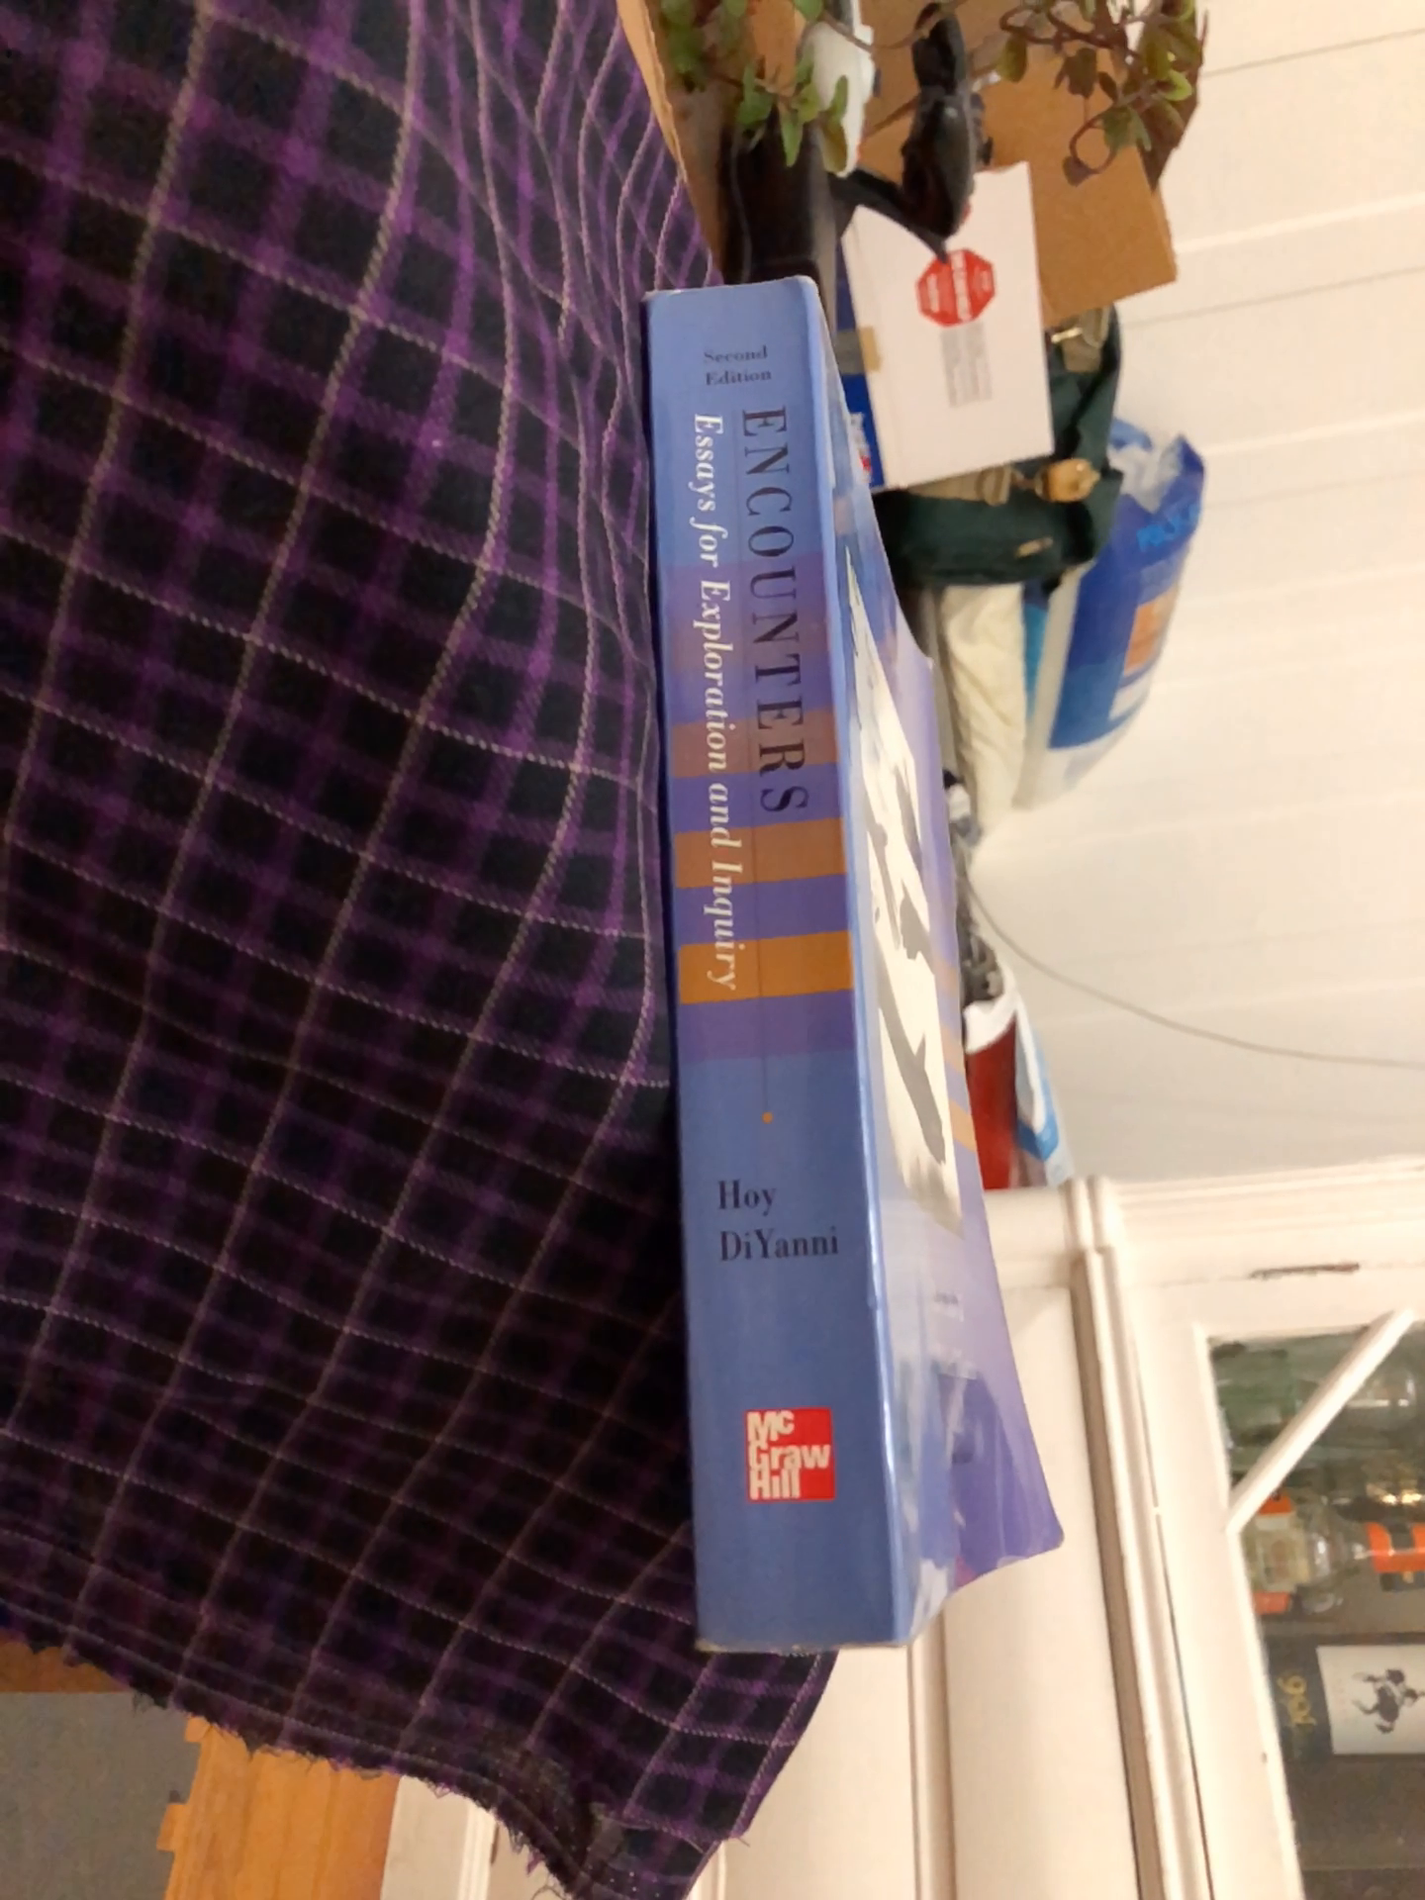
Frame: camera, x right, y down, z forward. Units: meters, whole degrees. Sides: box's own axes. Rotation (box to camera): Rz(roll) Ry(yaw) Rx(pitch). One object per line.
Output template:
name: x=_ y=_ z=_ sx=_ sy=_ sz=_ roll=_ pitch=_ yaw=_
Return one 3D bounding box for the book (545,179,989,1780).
book: x=0.019 y=0.014 z=0.345 sx=0.200 sy=0.040 sz=0.260 roll=49 pitch=35 yaw=-69
